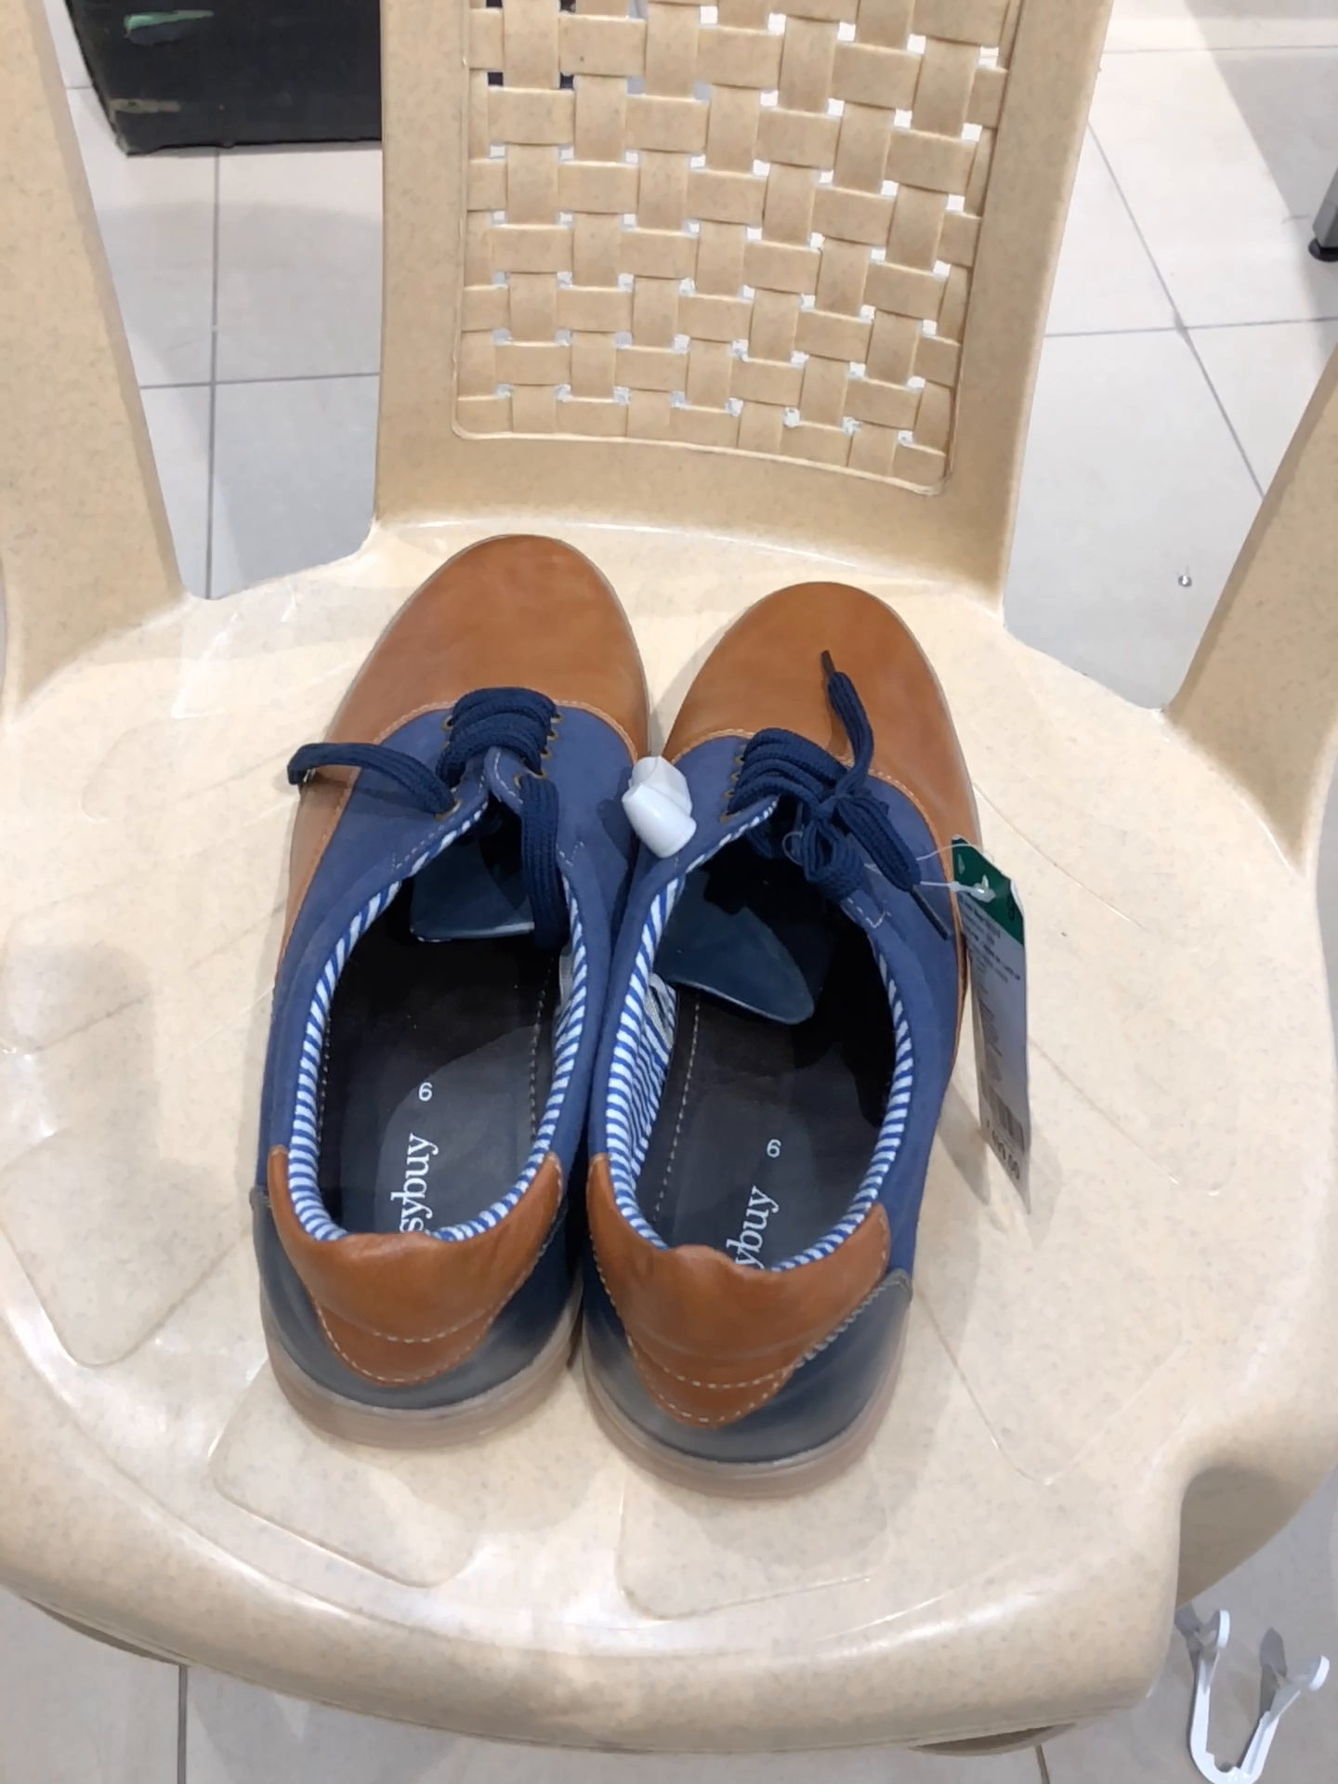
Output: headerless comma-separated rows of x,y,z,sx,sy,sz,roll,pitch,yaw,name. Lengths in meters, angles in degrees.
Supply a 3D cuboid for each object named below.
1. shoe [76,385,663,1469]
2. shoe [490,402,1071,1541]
-0.056,0.004,0.379,0.103,0.112,0.254,2,59,-2,shoe
0.034,0.015,0.376,0.103,0.120,0.252,8,59,2,shoe
